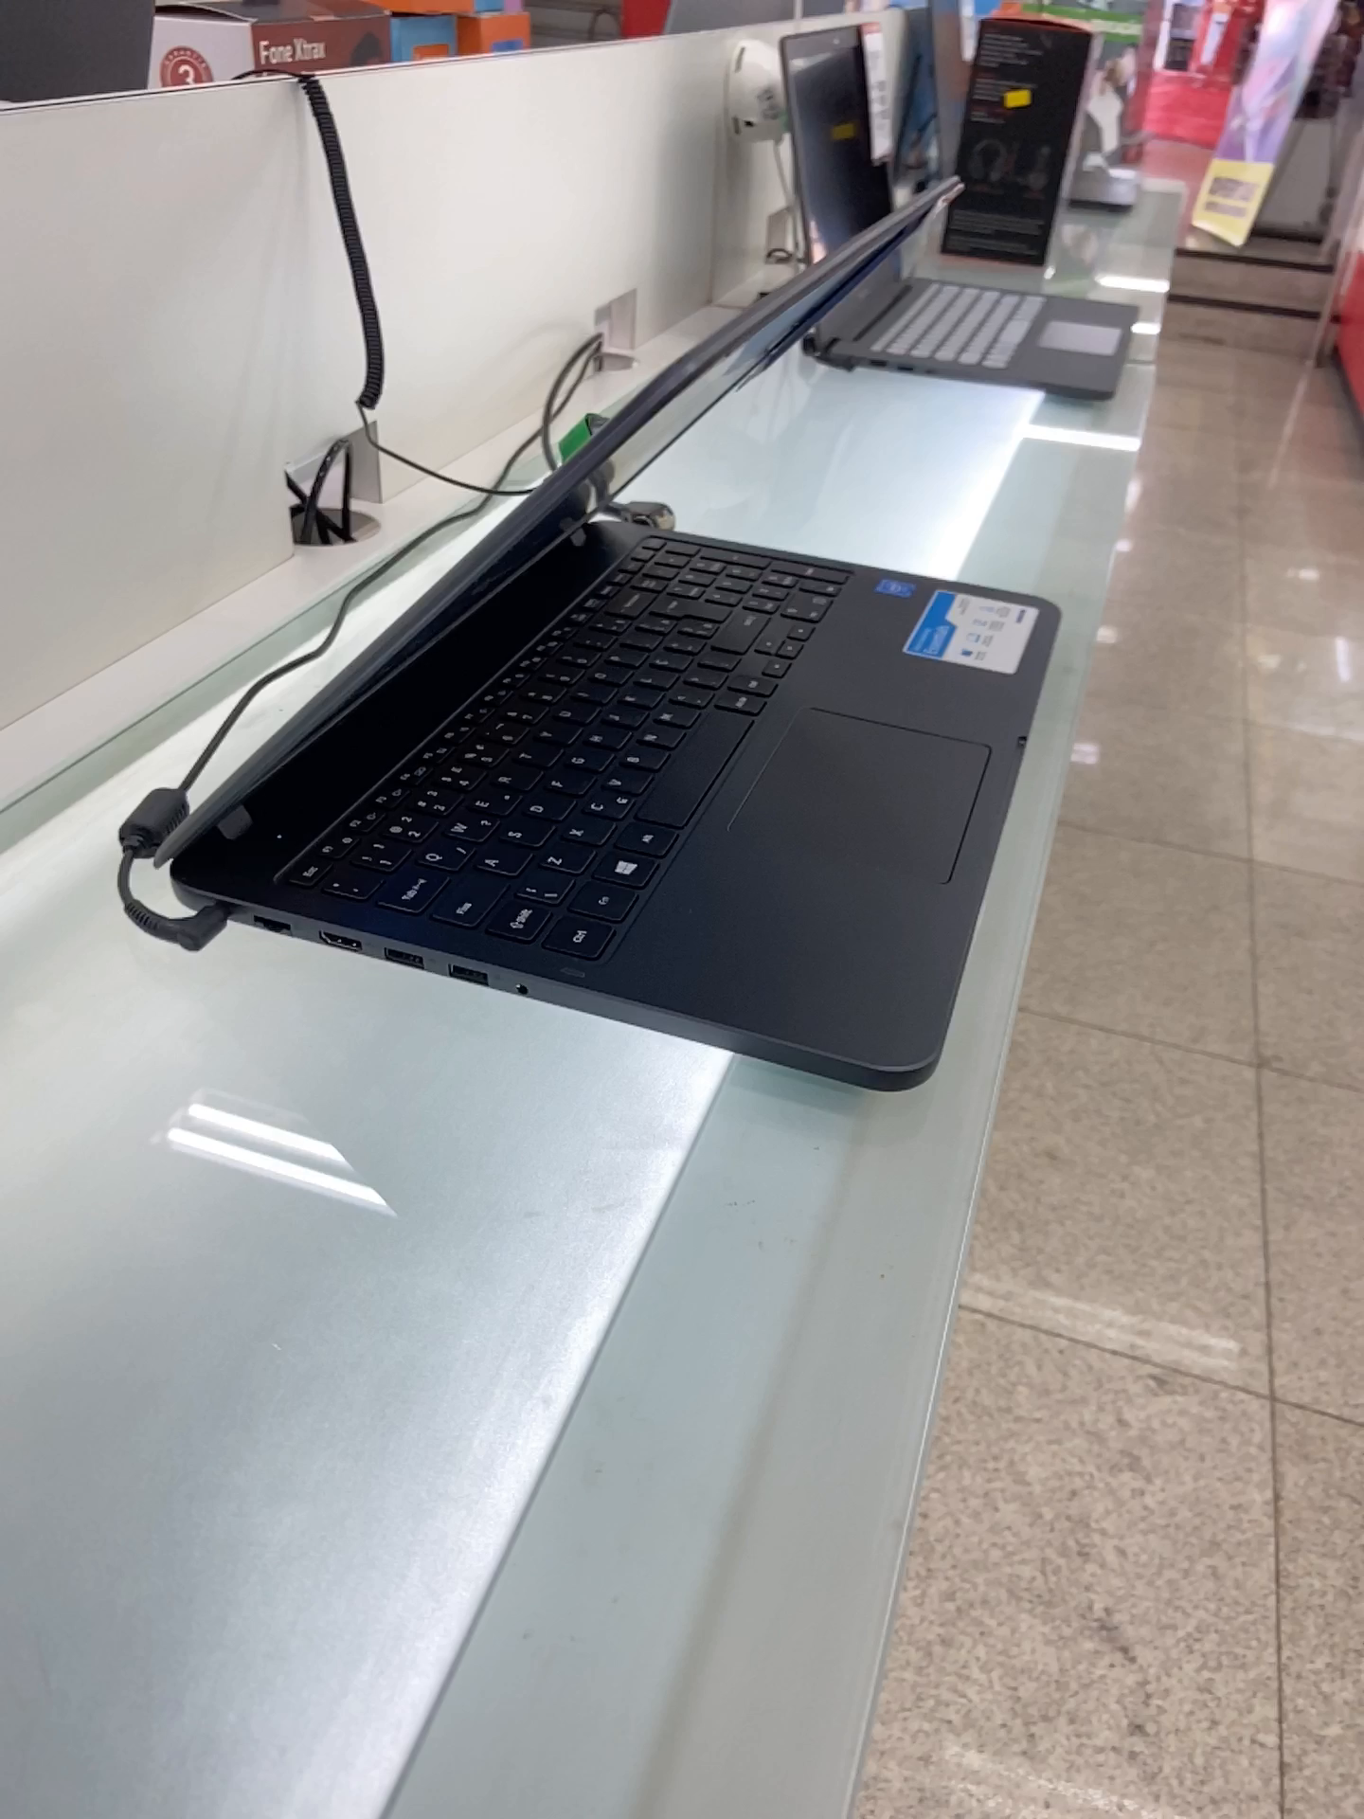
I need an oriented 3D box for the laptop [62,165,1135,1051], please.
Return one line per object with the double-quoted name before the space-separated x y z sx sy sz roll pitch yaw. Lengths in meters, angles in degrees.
"laptop" 0.014 -0.154 0.523 0.245 0.173 0.374 13 34 13
